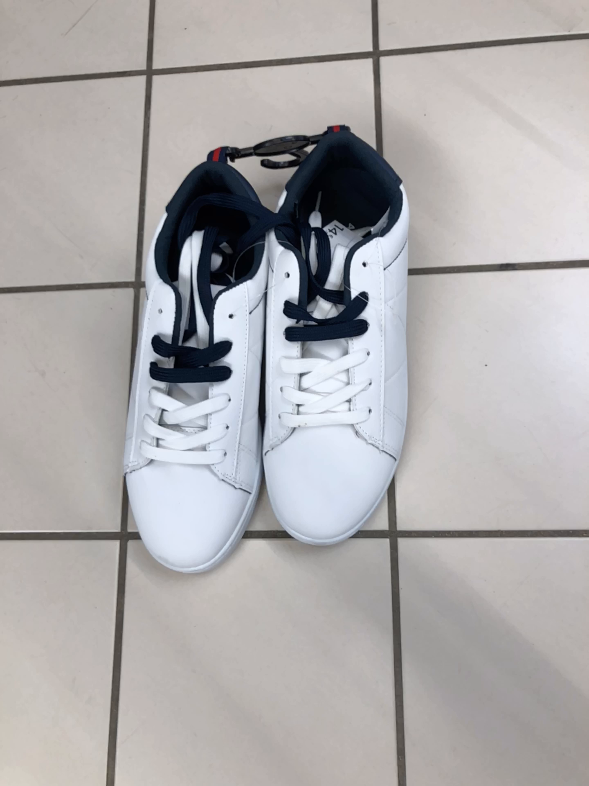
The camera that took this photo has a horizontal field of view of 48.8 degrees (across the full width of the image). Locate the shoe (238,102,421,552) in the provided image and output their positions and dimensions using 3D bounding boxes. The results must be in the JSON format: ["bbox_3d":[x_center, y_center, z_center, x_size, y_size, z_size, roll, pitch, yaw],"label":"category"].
[{"bbox_3d":[0.031,-0.042,0.454,0.100,0.100,0.290,2,77,7],"label":"shoe"}]

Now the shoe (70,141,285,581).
[{"bbox_3d":[-0.072,-0.022,0.468,0.100,0.100,0.290,2,77,7],"label":"shoe"}]
